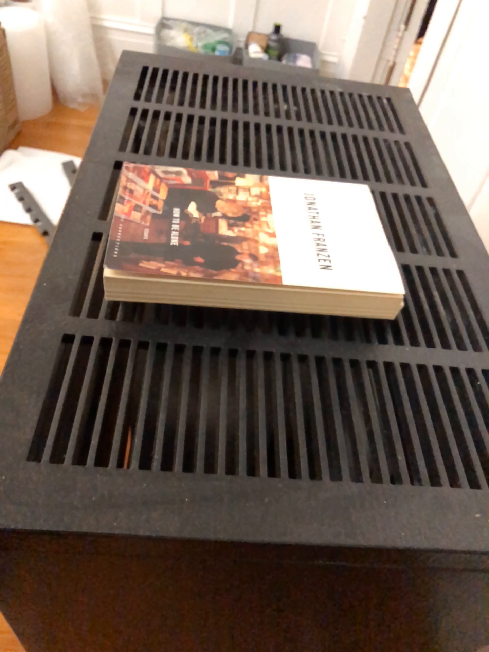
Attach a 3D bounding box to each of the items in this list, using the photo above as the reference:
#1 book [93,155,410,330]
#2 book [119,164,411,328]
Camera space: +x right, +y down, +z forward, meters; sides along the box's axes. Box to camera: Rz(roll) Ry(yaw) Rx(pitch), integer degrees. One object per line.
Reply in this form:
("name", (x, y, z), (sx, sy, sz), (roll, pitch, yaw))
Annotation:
("book", (0.003, -0.068, 0.416), (0.210, 0.030, 0.151), (3, 46, -9))
("book", (0.012, -0.070, 0.445), (0.210, 0.030, 0.151), (3, 46, -9))
